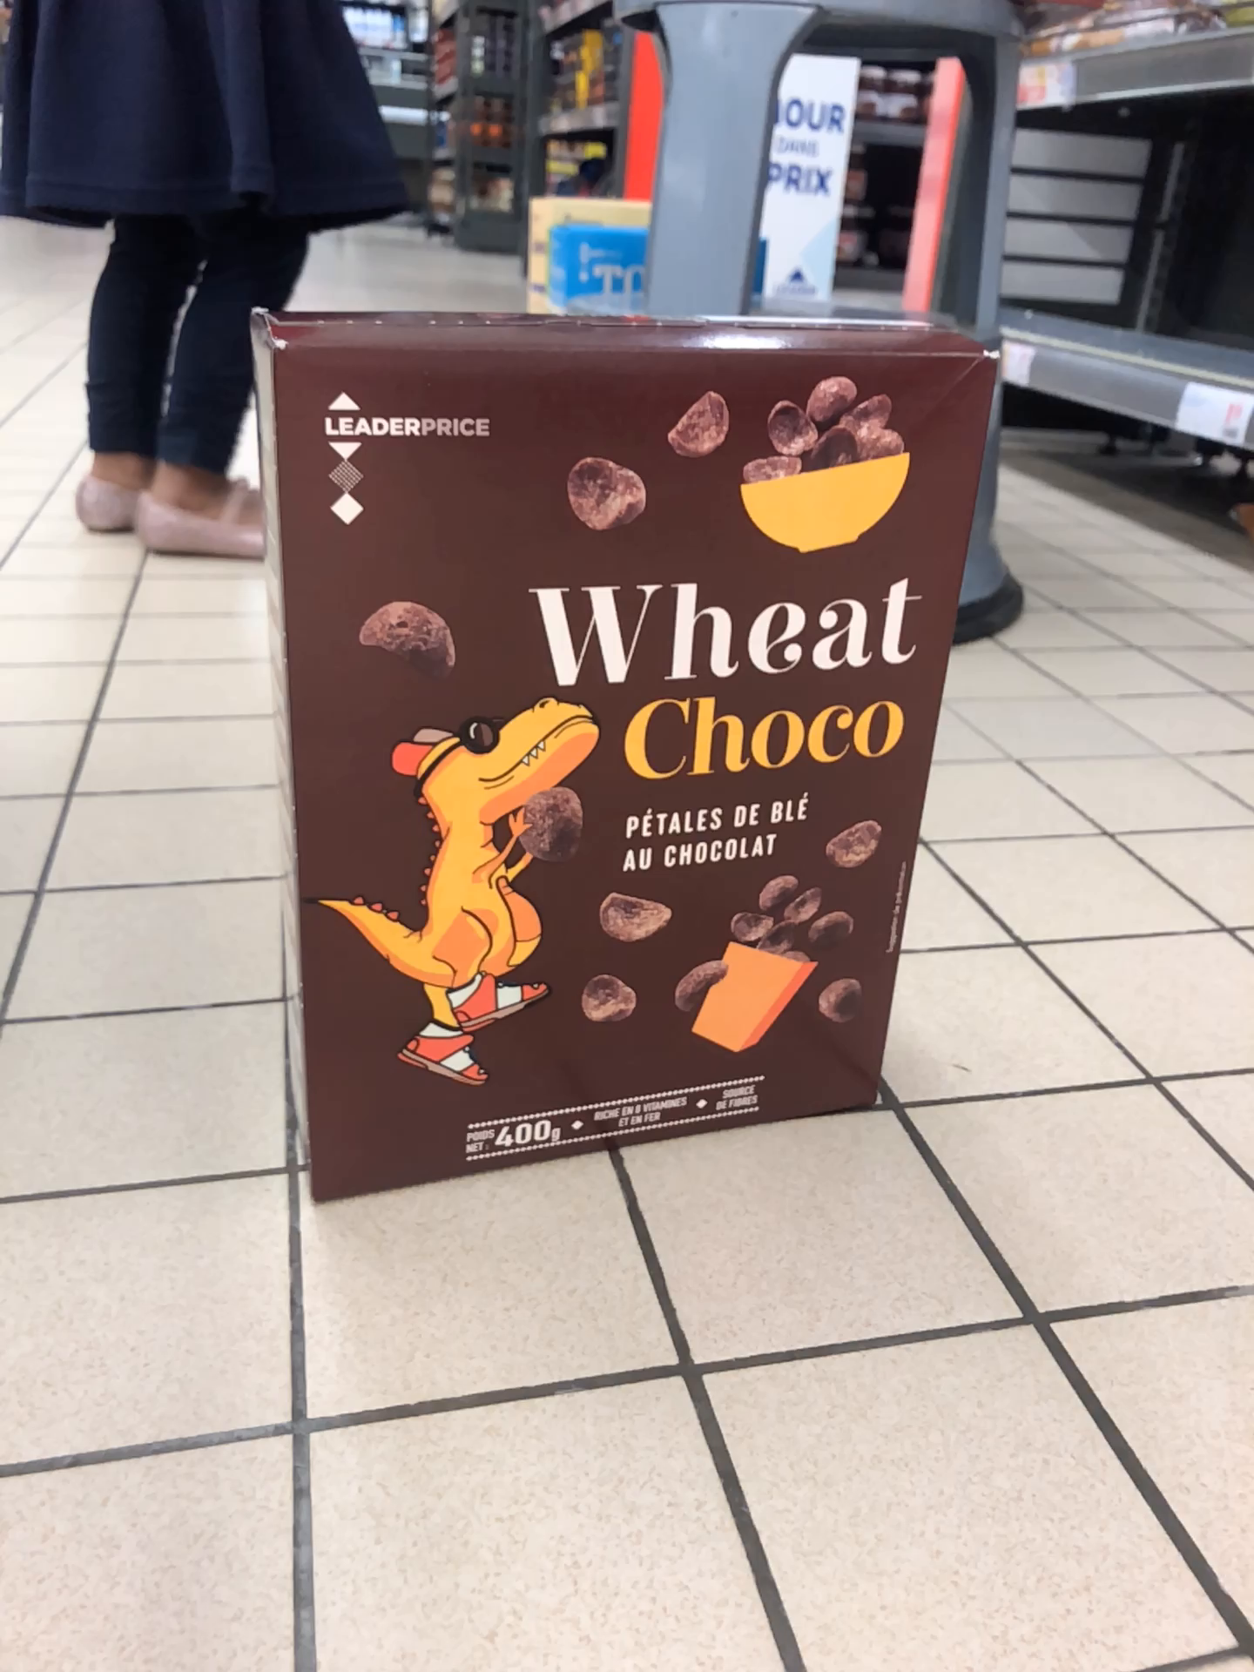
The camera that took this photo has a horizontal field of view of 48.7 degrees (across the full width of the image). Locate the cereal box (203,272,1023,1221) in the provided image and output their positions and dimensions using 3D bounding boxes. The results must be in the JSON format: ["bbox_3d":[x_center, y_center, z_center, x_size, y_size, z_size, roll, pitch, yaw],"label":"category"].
[{"bbox_3d":[-0.010,-0.026,0.408,0.200,0.249,0.070,-5,25,-18],"label":"cereal box"}]
